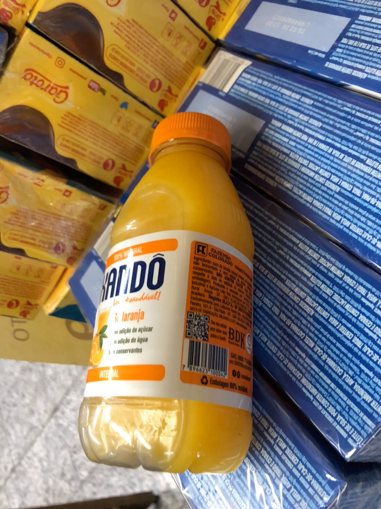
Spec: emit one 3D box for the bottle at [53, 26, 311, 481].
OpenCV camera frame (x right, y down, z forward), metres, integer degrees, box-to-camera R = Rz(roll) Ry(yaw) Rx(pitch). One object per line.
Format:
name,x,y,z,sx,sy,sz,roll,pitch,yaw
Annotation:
bottle,0.002,0.001,0.195,0.060,0.080,0.170,-16,62,38
